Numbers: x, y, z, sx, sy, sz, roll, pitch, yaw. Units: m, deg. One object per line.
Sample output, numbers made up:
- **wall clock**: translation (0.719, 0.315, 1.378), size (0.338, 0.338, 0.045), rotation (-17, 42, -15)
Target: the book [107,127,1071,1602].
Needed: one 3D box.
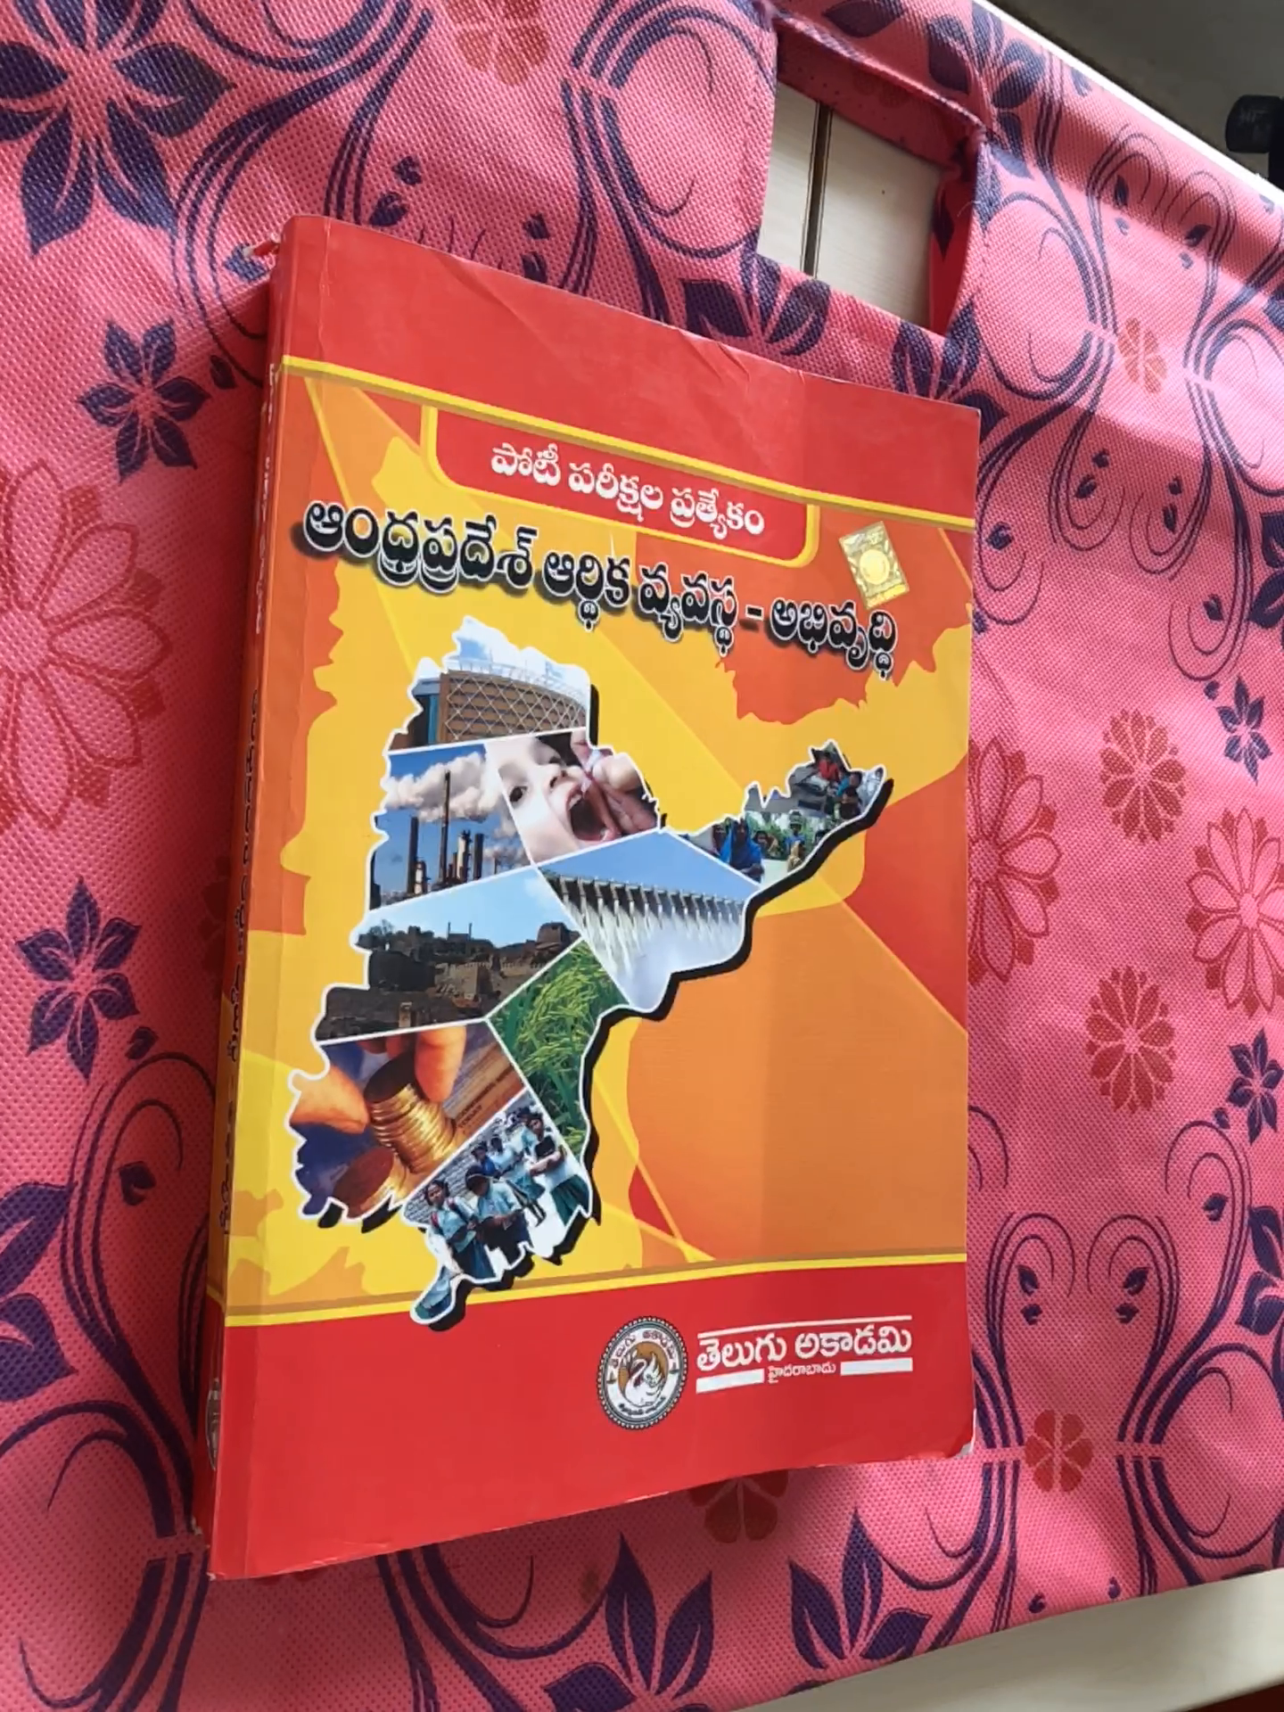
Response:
- **book**: translation (-0.001, 0.007, 0.329), size (0.201, 0.060, 0.260), rotation (6, 87, -32)
